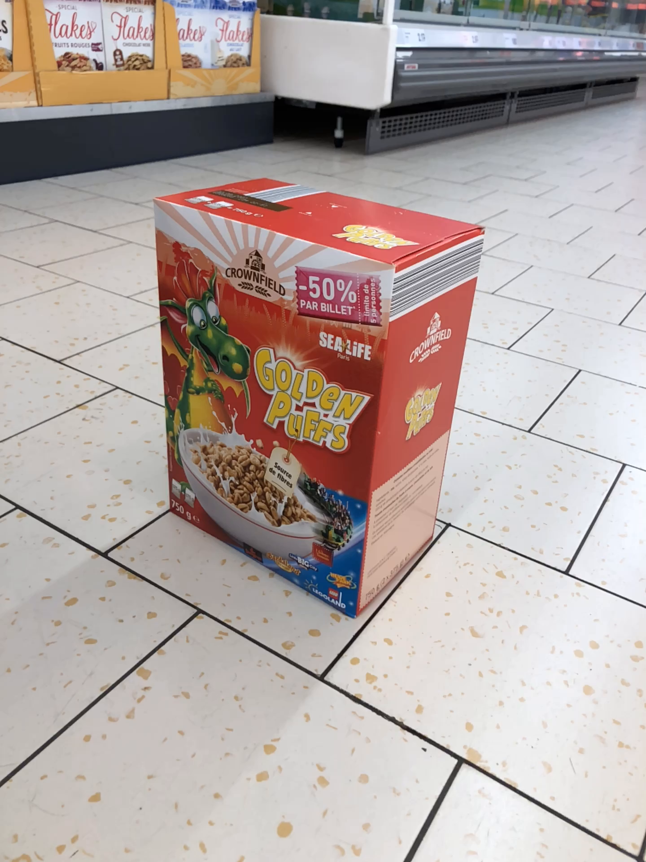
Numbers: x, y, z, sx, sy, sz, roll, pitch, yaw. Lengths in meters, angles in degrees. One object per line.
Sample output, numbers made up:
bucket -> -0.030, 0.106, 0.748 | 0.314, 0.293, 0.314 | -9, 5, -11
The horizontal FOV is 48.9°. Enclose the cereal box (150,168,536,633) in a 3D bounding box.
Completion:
cereal box -> 0.005, -0.035, 0.508 | 0.200, 0.248, 0.141 | 23, 34, 30
